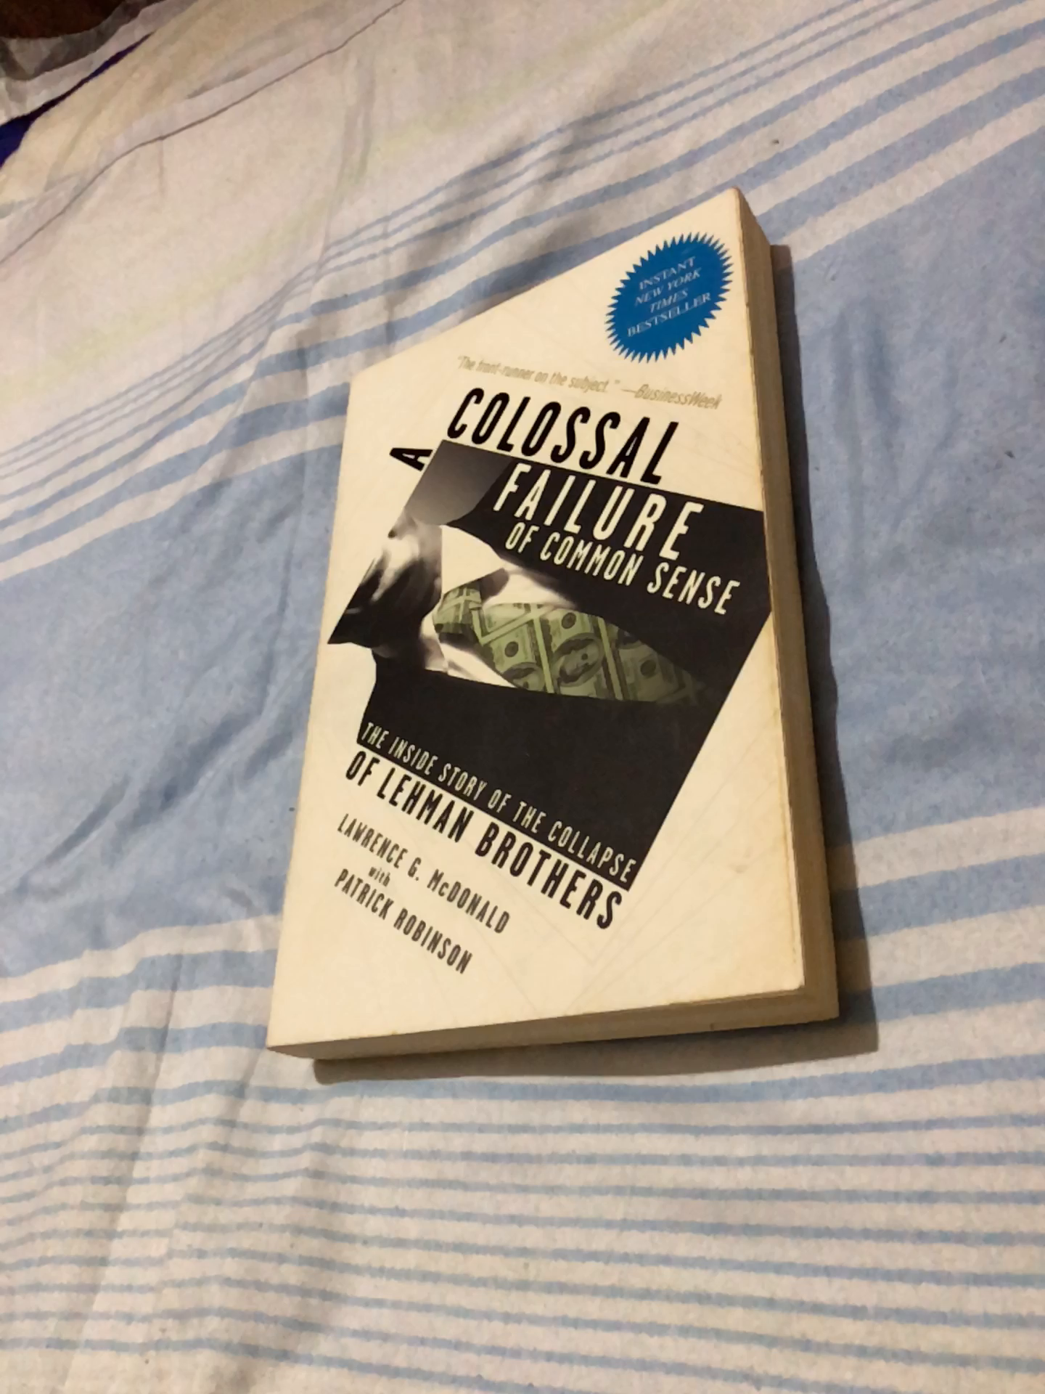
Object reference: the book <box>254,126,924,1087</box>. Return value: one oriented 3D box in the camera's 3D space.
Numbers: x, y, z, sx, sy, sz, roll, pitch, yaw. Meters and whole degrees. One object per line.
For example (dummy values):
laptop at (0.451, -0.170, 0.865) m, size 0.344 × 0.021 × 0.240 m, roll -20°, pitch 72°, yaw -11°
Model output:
book at (0.010, -0.023, 0.296) m, size 0.140 × 0.040 × 0.220 m, roll -15°, pitch 59°, yaw 29°
